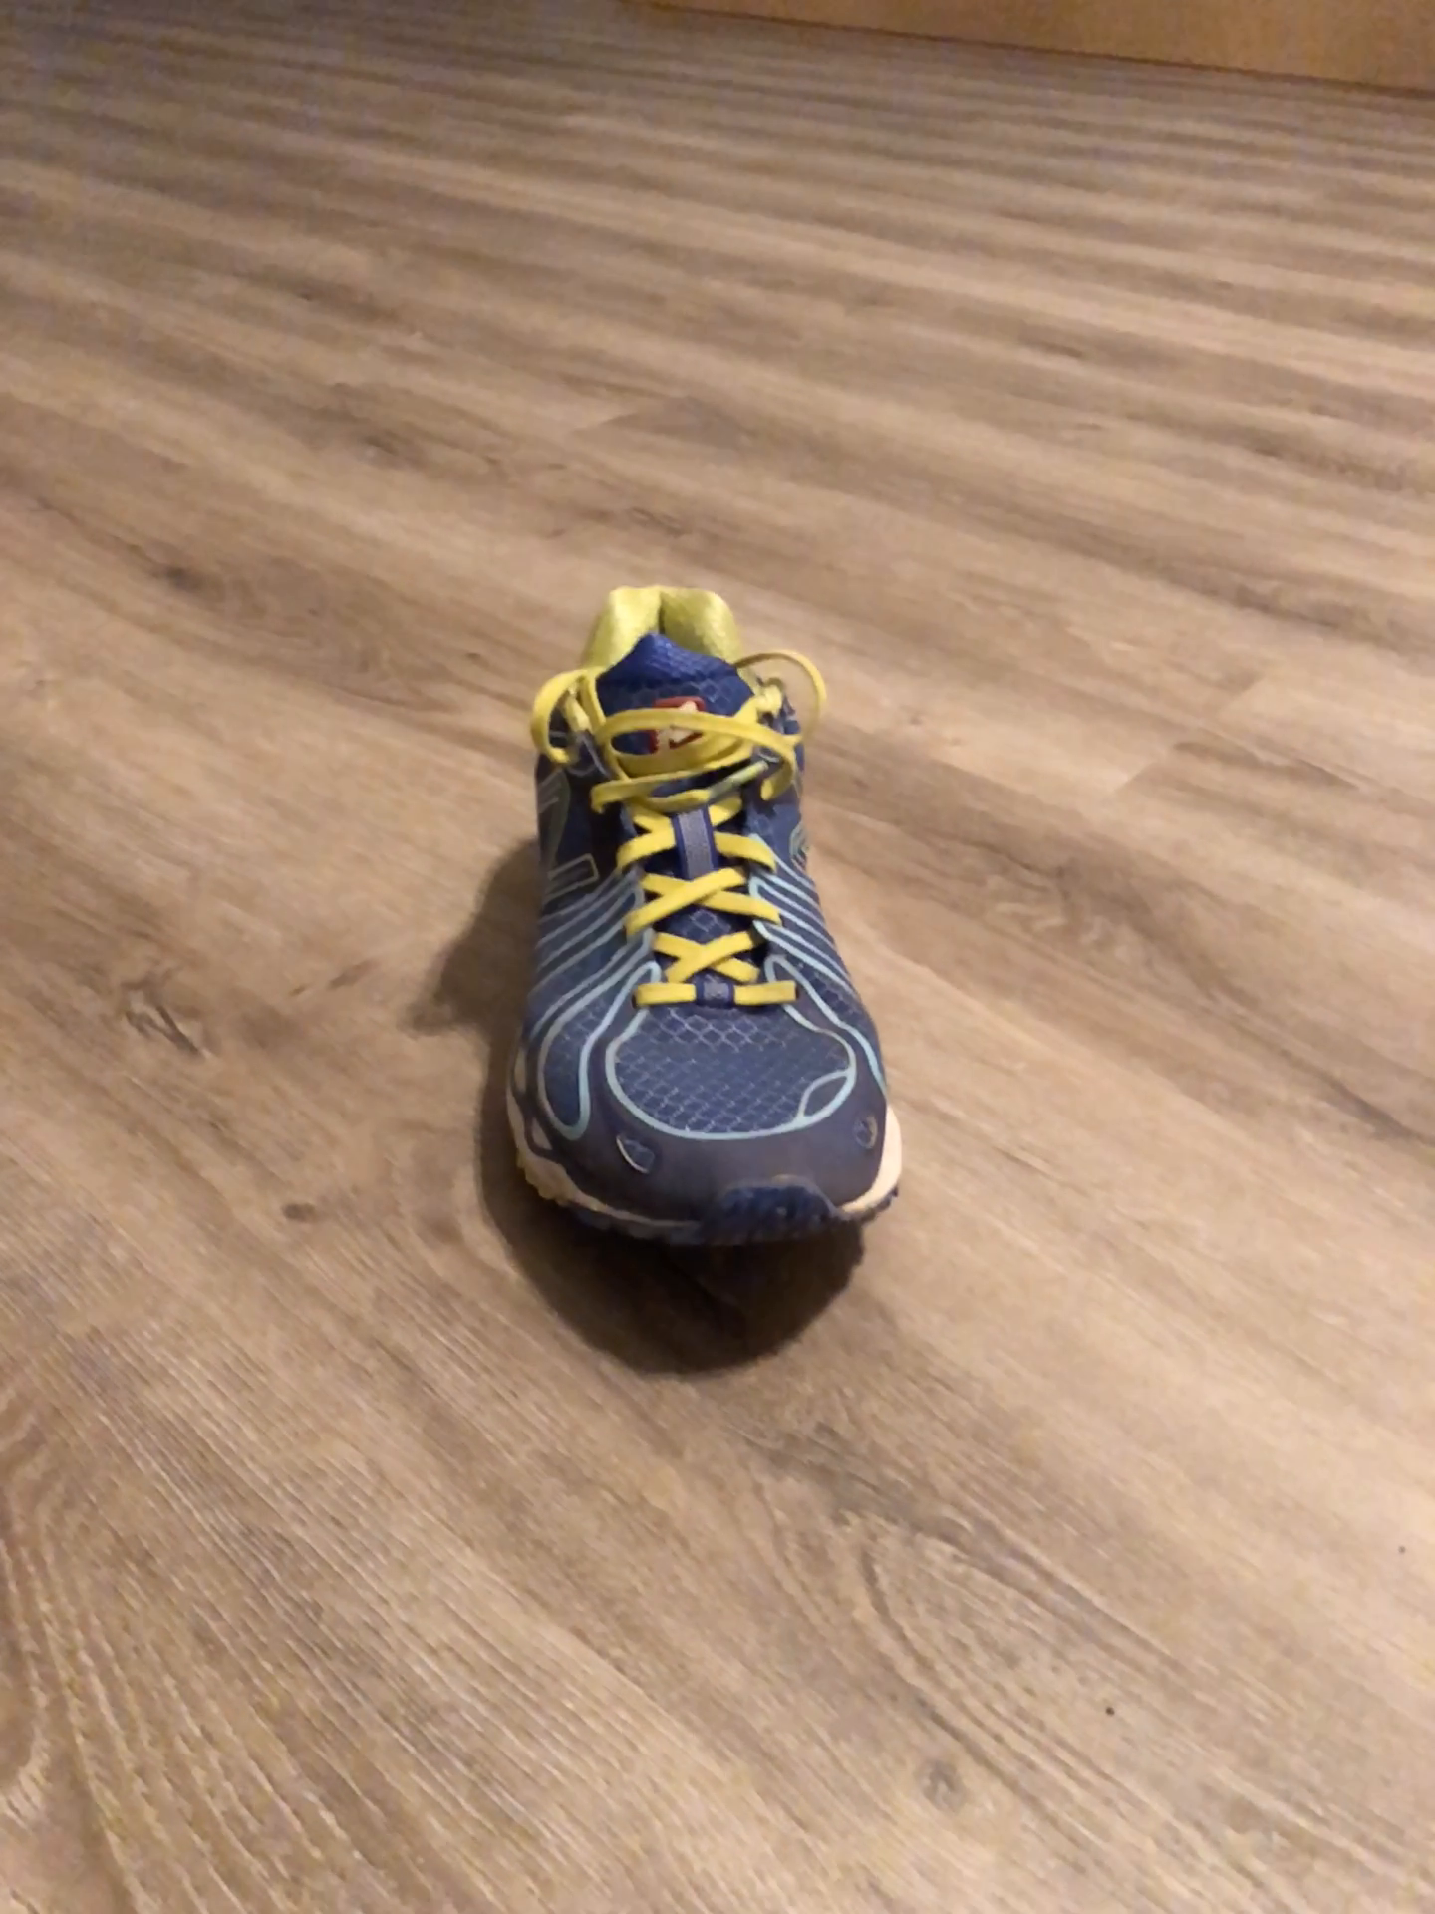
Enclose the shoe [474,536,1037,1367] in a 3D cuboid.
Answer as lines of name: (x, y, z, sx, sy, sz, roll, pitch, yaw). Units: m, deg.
shoe: (-0.007, -0.022, 0.439, 0.110, 0.099, 0.251, -2, 35, -6)
